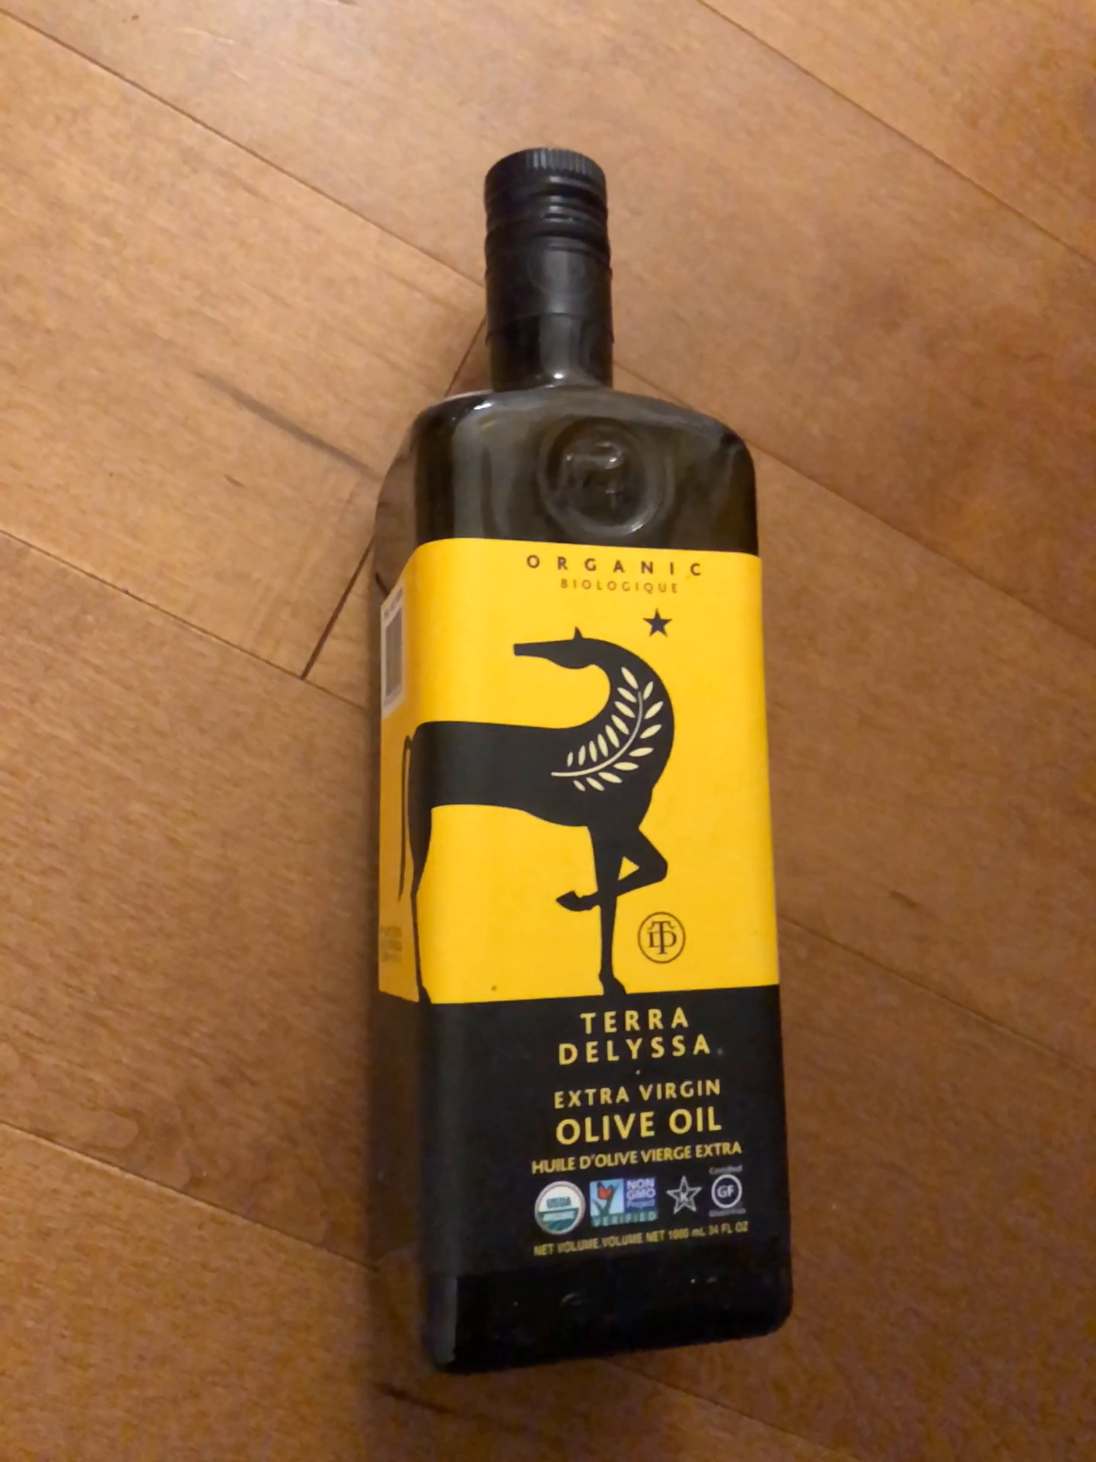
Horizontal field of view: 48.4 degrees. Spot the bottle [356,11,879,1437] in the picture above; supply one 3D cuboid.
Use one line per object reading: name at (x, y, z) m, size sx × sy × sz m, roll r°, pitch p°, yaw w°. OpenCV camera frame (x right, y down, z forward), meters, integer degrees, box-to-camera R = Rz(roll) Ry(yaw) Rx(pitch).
bottle at (0.008, -0.008, 0.269) m, size 0.090 × 0.060 × 0.270 m, roll 0°, pitch 82°, yaw -16°
